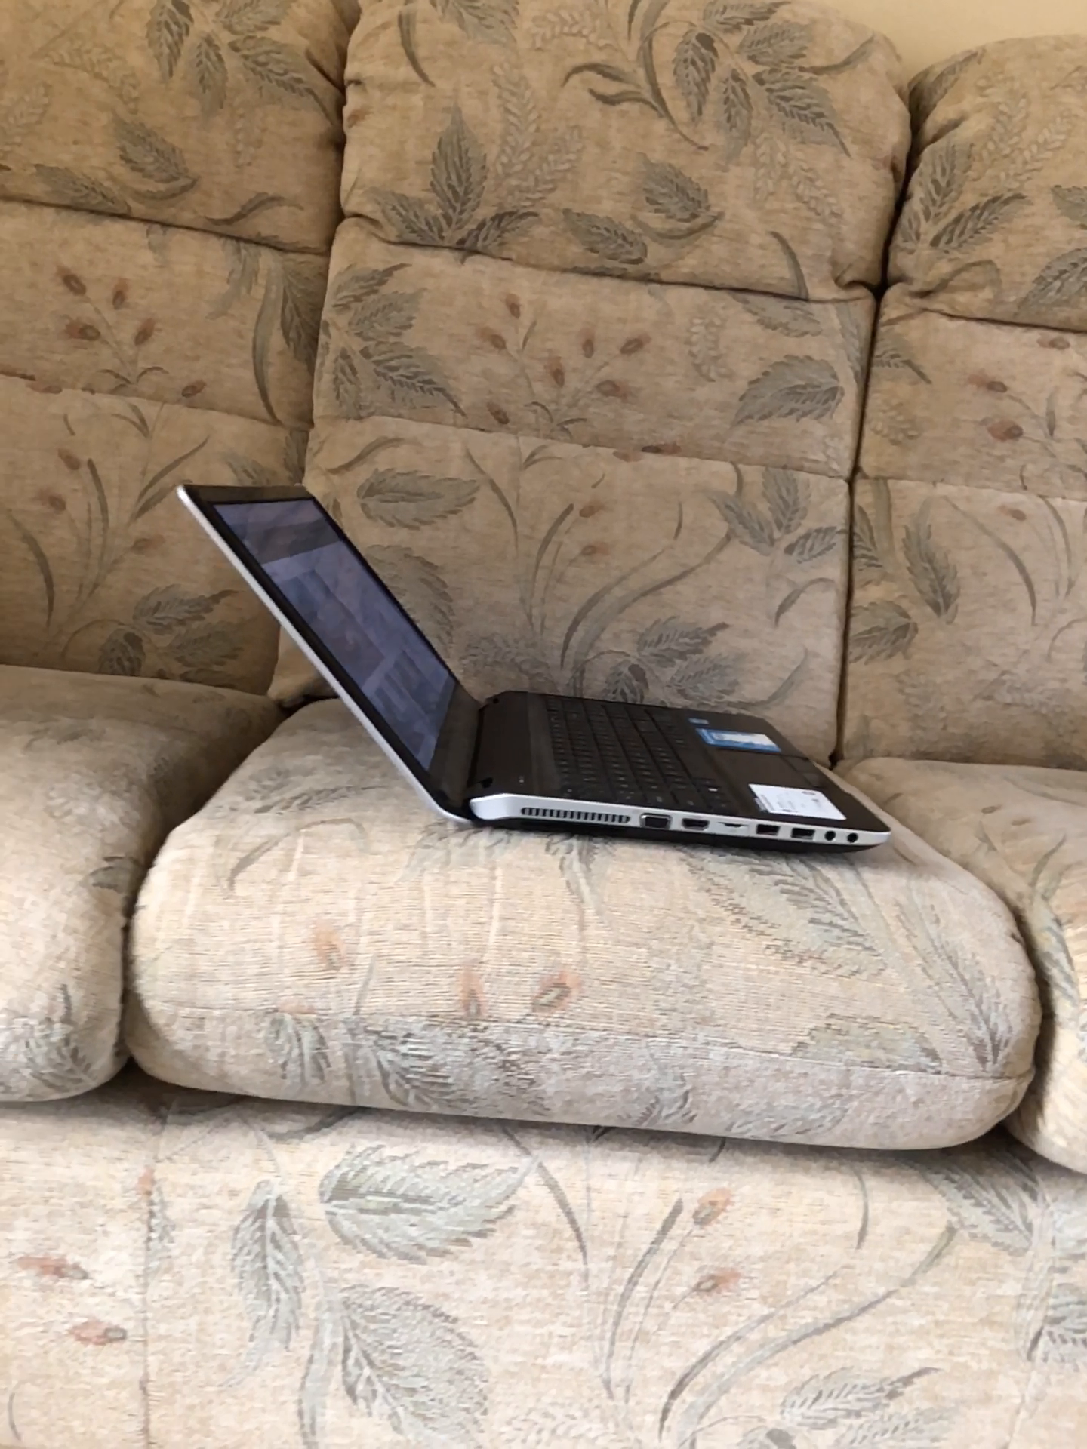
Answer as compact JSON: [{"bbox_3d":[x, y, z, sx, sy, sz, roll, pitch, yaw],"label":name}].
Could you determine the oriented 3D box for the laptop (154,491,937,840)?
[{"bbox_3d":[-0.001,-0.059,0.842,0.410,0.151,0.397,6,11,-3],"label":"laptop"}]
